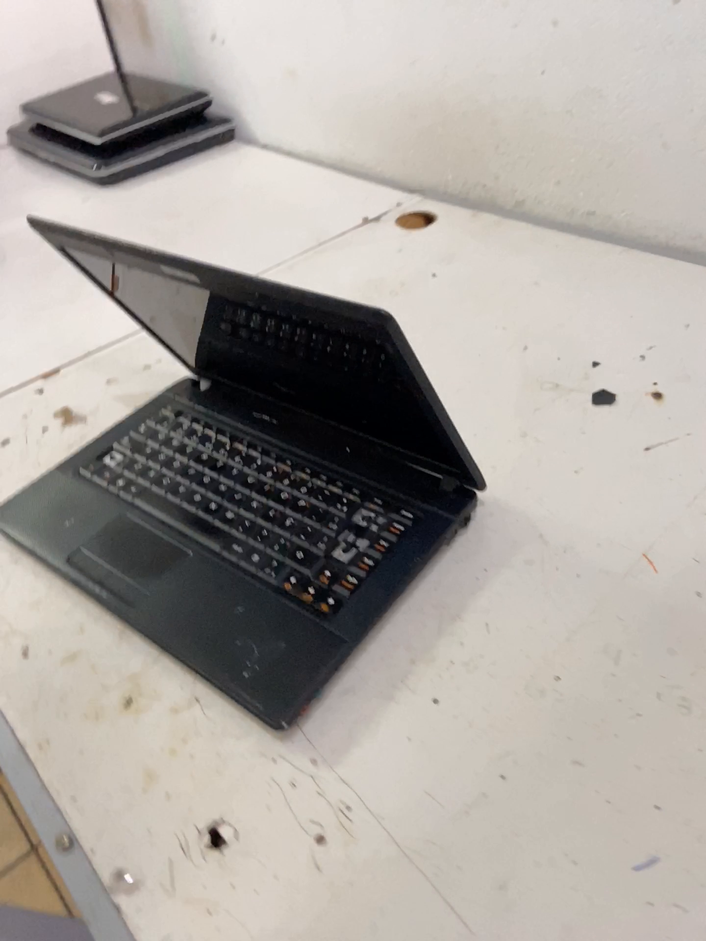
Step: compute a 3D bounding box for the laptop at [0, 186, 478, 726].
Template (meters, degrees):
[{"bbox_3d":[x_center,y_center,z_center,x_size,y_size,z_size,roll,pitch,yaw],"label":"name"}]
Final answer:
[{"bbox_3d":[-0.117,-0.042,0.510,0.333,0.194,0.224,23,51,32],"label":"laptop"}]
